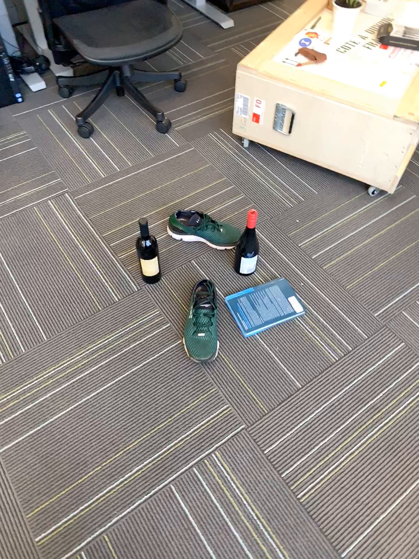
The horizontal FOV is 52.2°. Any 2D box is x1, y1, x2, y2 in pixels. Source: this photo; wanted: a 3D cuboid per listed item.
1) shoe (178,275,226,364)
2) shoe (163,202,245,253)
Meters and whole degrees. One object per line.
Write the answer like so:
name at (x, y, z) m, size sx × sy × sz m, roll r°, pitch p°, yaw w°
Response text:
shoe at (-0.020, 0.127, 1.379) m, size 0.130 × 0.139 × 0.241 m, roll 4°, pitch 54°, yaw 2°
shoe at (-0.019, -0.202, 1.654) m, size 0.290 × 0.080 × 0.120 m, roll 12°, pitch 55°, yaw 8°
